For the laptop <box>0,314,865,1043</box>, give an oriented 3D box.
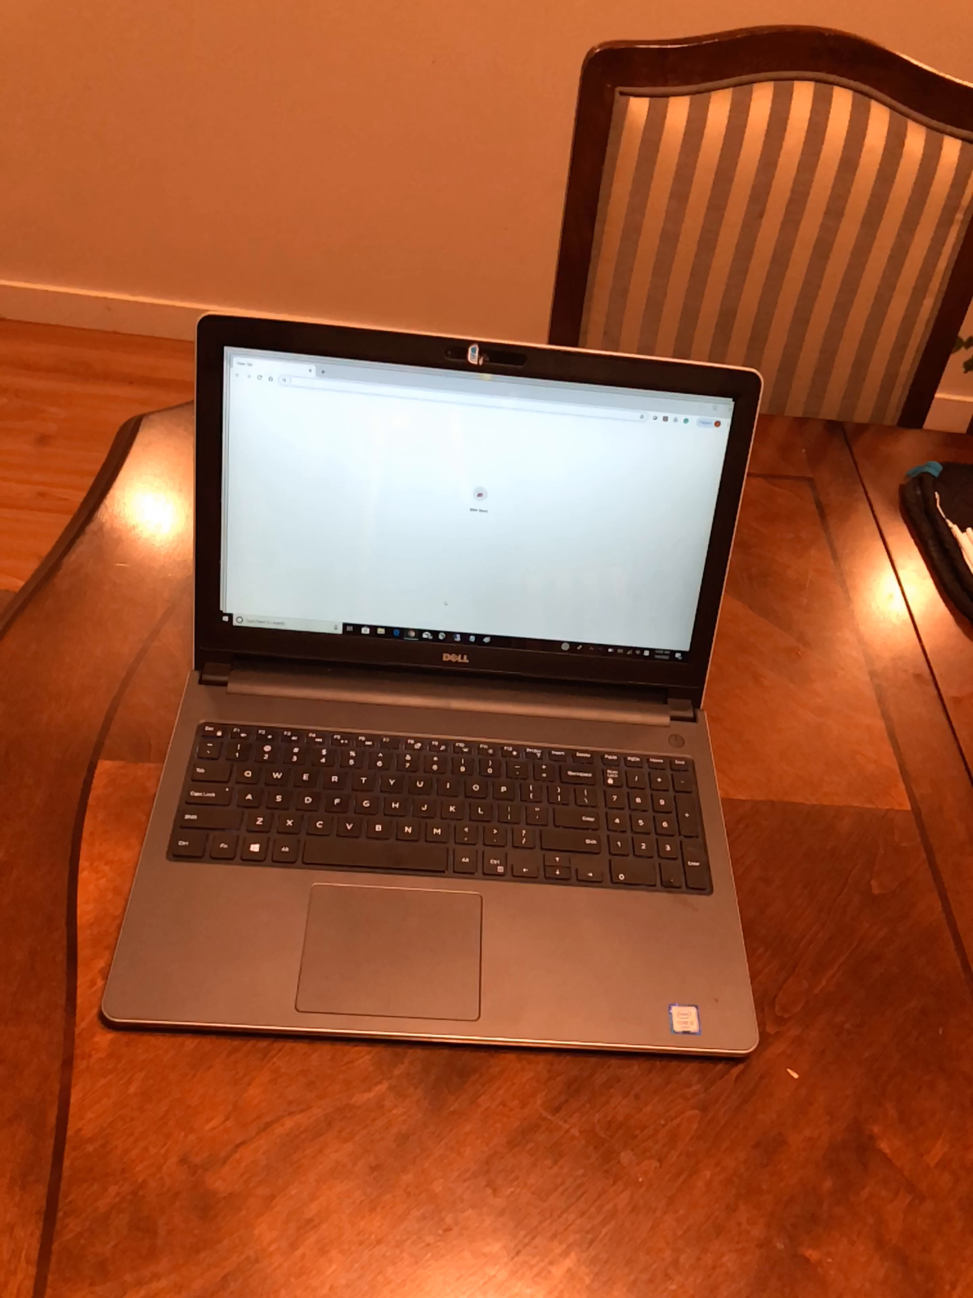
[{"bbox_3d":[-0.029,0.007,0.647,0.369,0.212,0.362,5,48,-4],"label":"laptop"}]
